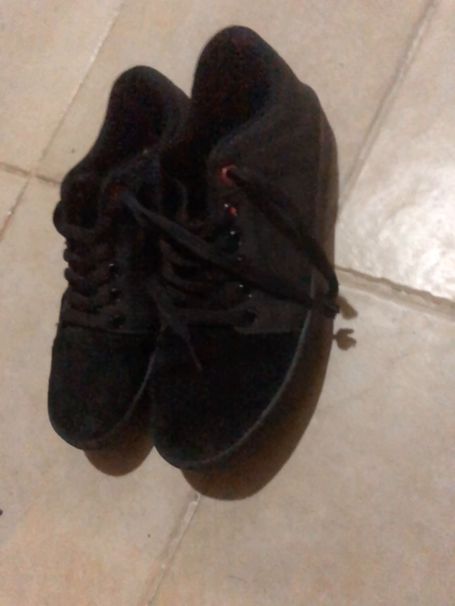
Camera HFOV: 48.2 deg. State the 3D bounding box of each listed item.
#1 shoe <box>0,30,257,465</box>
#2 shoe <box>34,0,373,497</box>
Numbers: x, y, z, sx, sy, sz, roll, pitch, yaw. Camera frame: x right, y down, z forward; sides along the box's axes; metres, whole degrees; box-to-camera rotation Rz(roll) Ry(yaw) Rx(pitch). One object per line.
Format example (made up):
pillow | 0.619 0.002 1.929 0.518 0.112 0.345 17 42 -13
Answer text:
shoe | -0.074 -0.032 0.332 0.100 0.100 0.240 6 75 33
shoe | 0.002 -0.032 0.277 0.100 0.100 0.240 2 72 32
